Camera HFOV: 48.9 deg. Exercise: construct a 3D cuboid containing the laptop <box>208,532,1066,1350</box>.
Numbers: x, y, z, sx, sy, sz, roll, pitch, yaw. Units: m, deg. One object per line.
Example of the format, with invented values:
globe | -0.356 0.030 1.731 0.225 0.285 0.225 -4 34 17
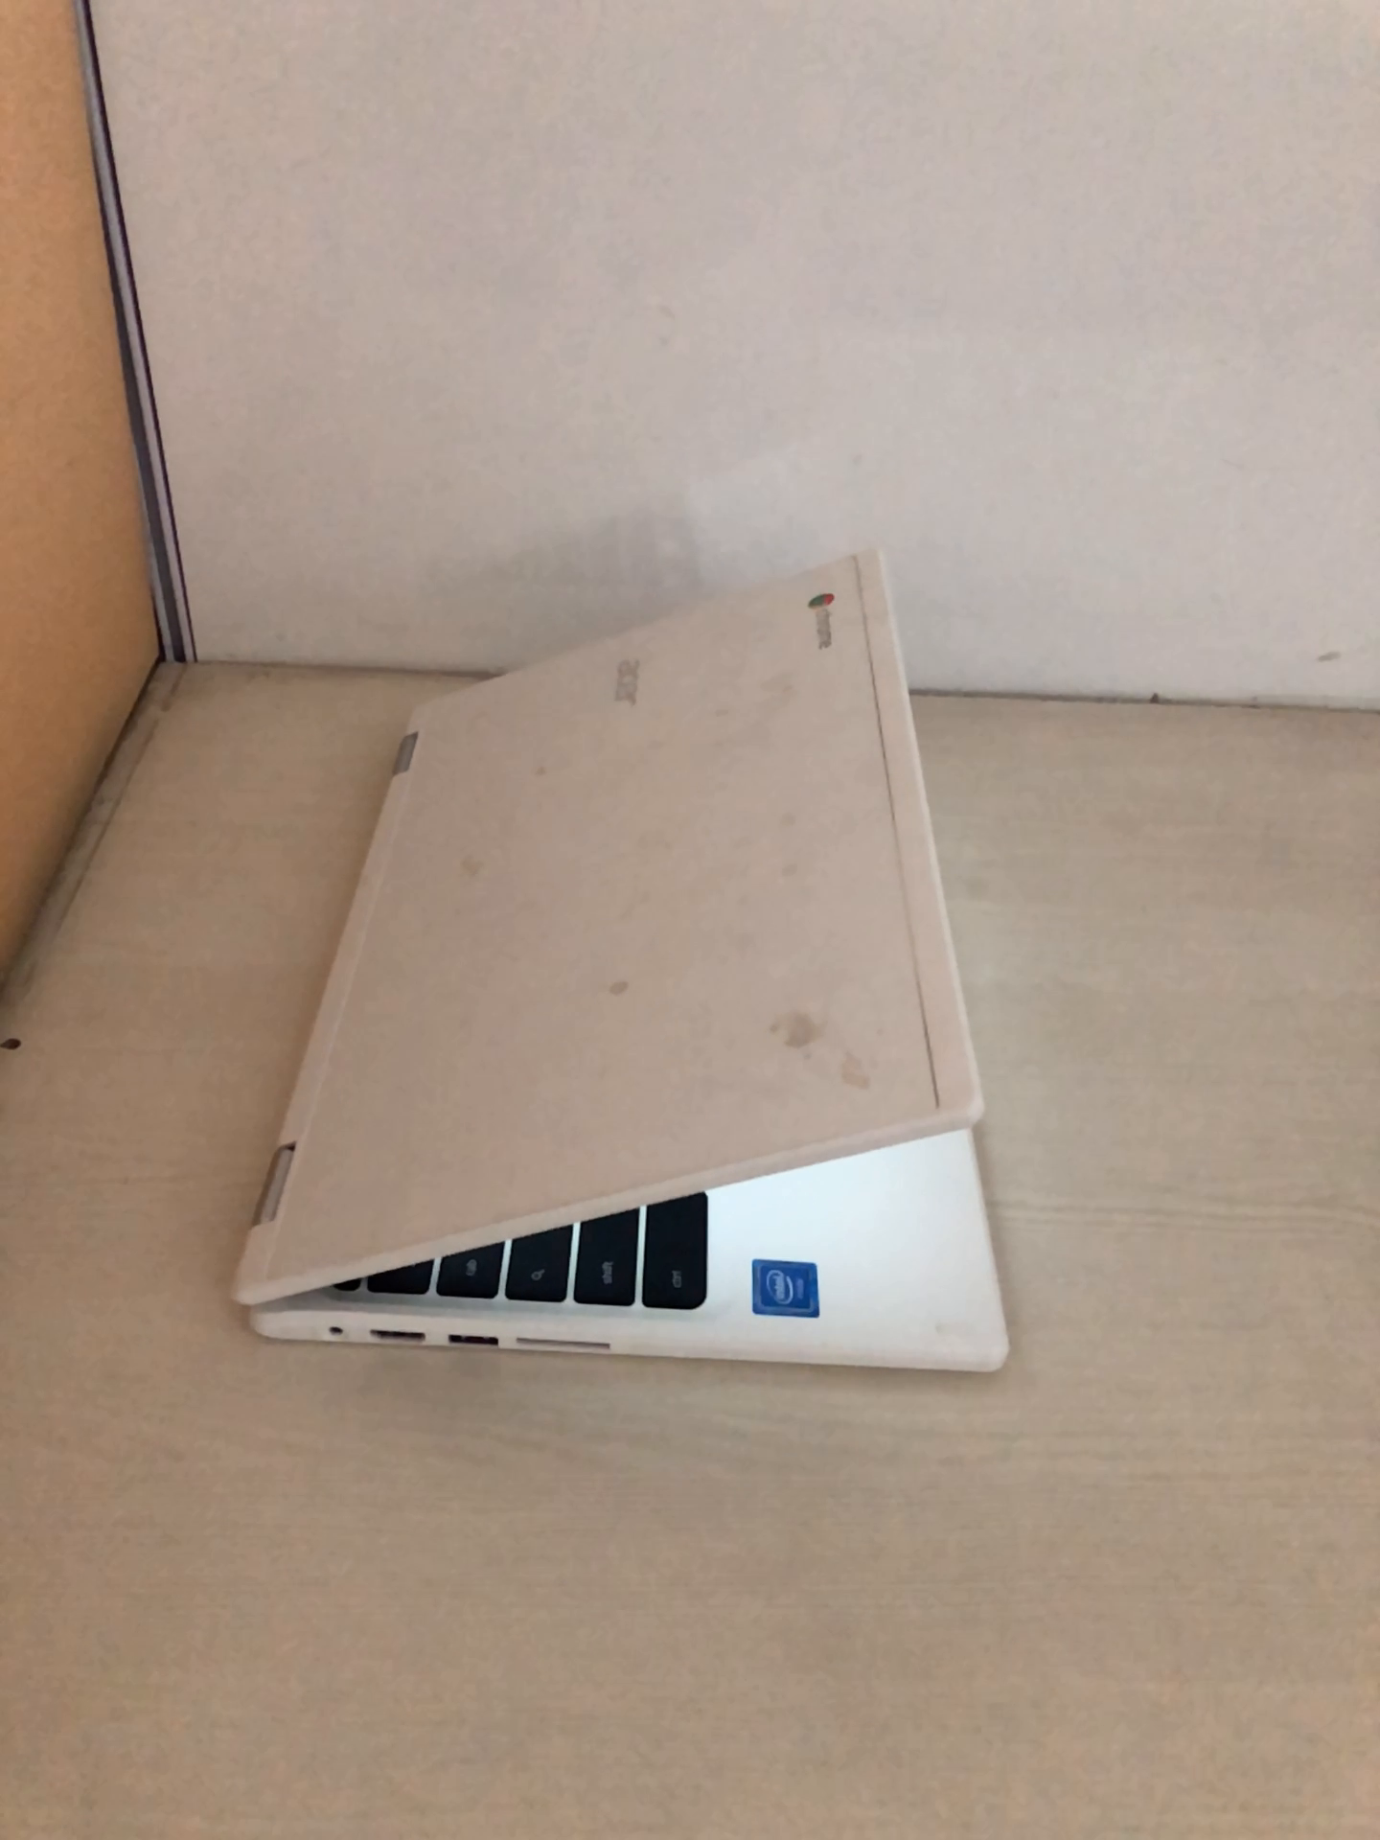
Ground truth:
laptop | -0.011 -0.015 0.492 0.200 0.092 0.285 3 40 0
